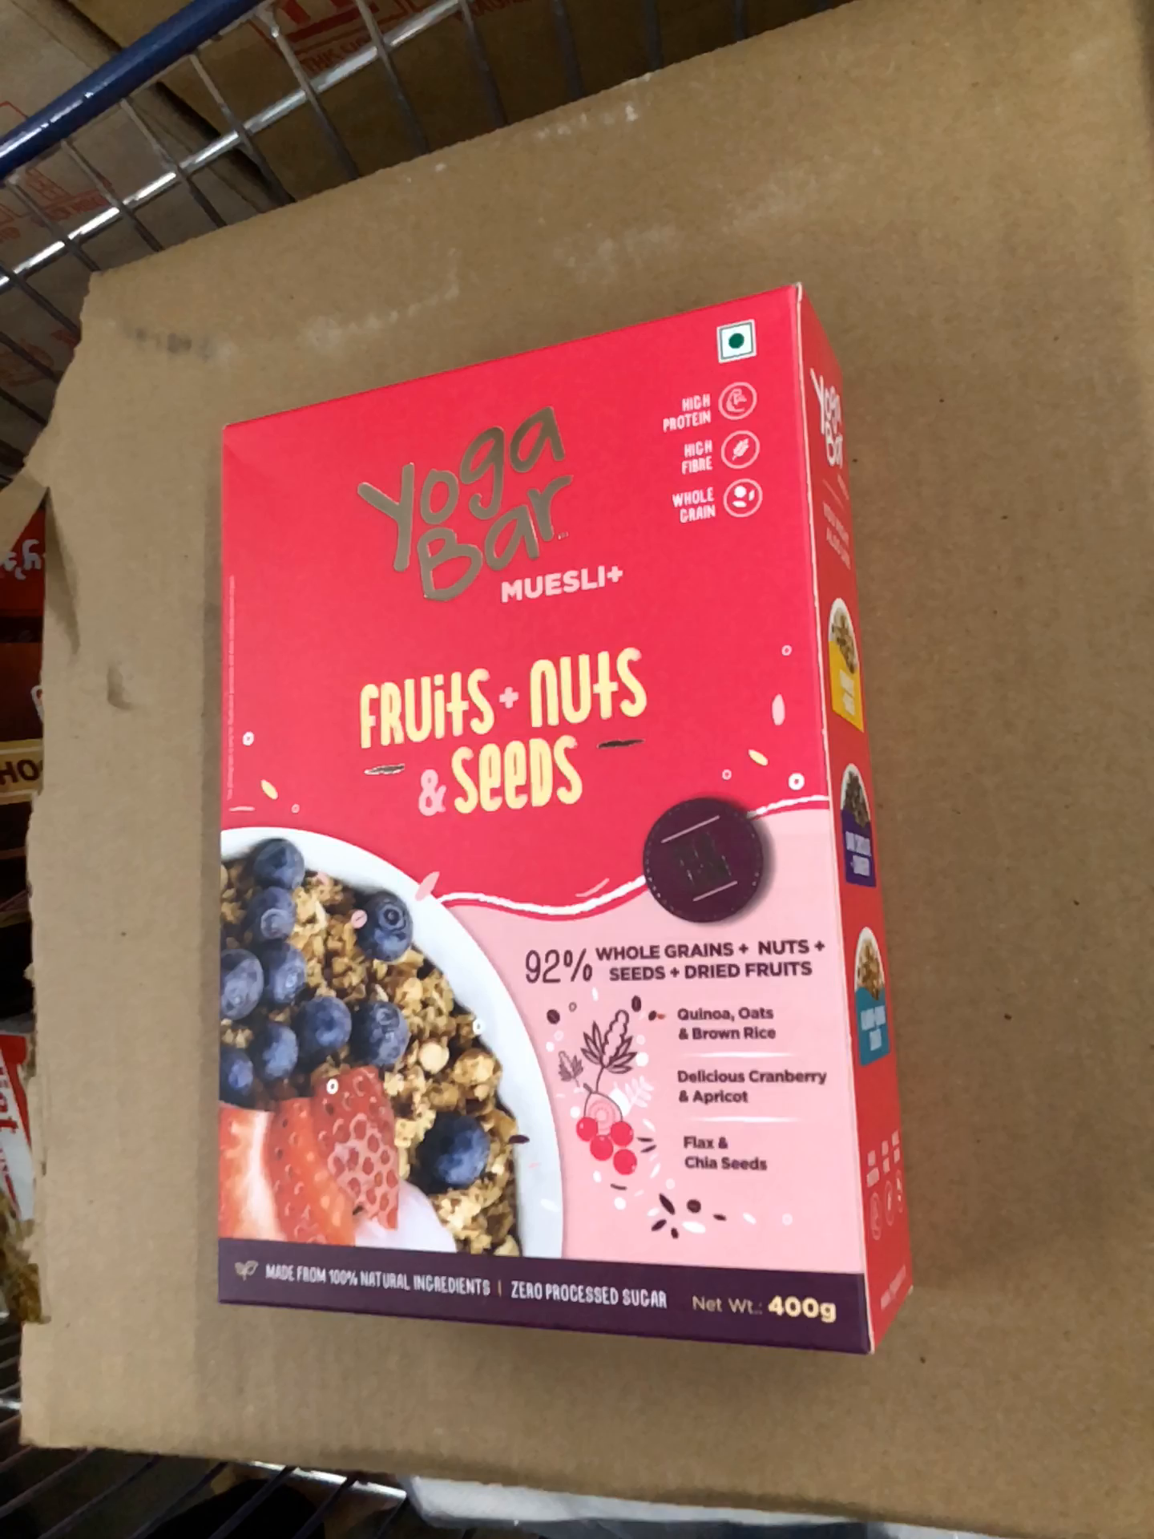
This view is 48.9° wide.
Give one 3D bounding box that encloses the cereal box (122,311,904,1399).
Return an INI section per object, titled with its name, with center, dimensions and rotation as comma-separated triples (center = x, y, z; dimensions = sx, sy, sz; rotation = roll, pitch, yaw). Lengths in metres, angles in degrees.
[cereal box]
center = -0.020, 0.021, 0.304
dimensions = 0.170, 0.060, 0.210
rotation = -5, 83, 21
